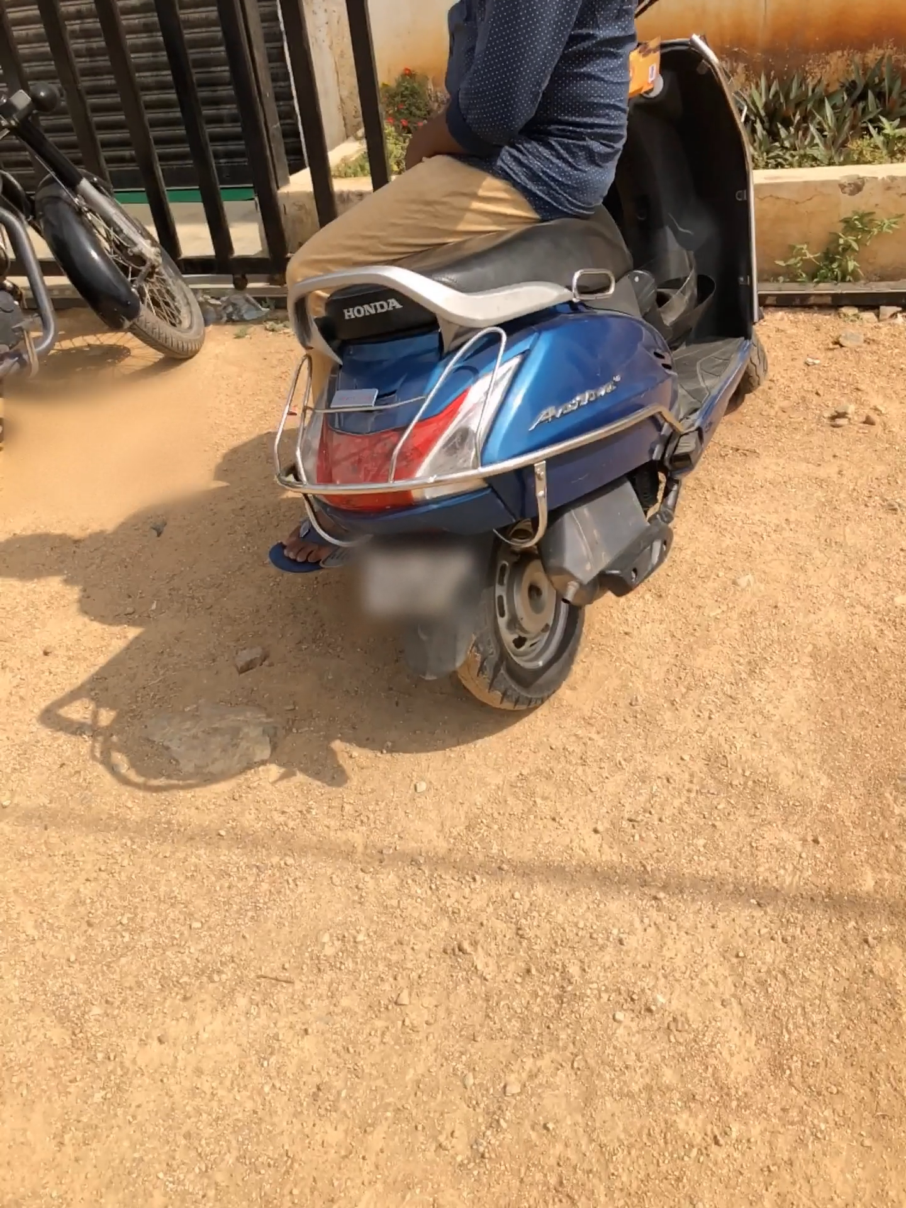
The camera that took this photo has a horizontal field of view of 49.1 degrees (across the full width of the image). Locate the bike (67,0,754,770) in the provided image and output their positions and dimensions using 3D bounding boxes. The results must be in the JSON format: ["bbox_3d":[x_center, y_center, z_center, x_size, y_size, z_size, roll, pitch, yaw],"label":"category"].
[{"bbox_3d":[0.130,-0.715,1.980,0.621,1.115,1.559,9,40,21],"label":"bike"}]
